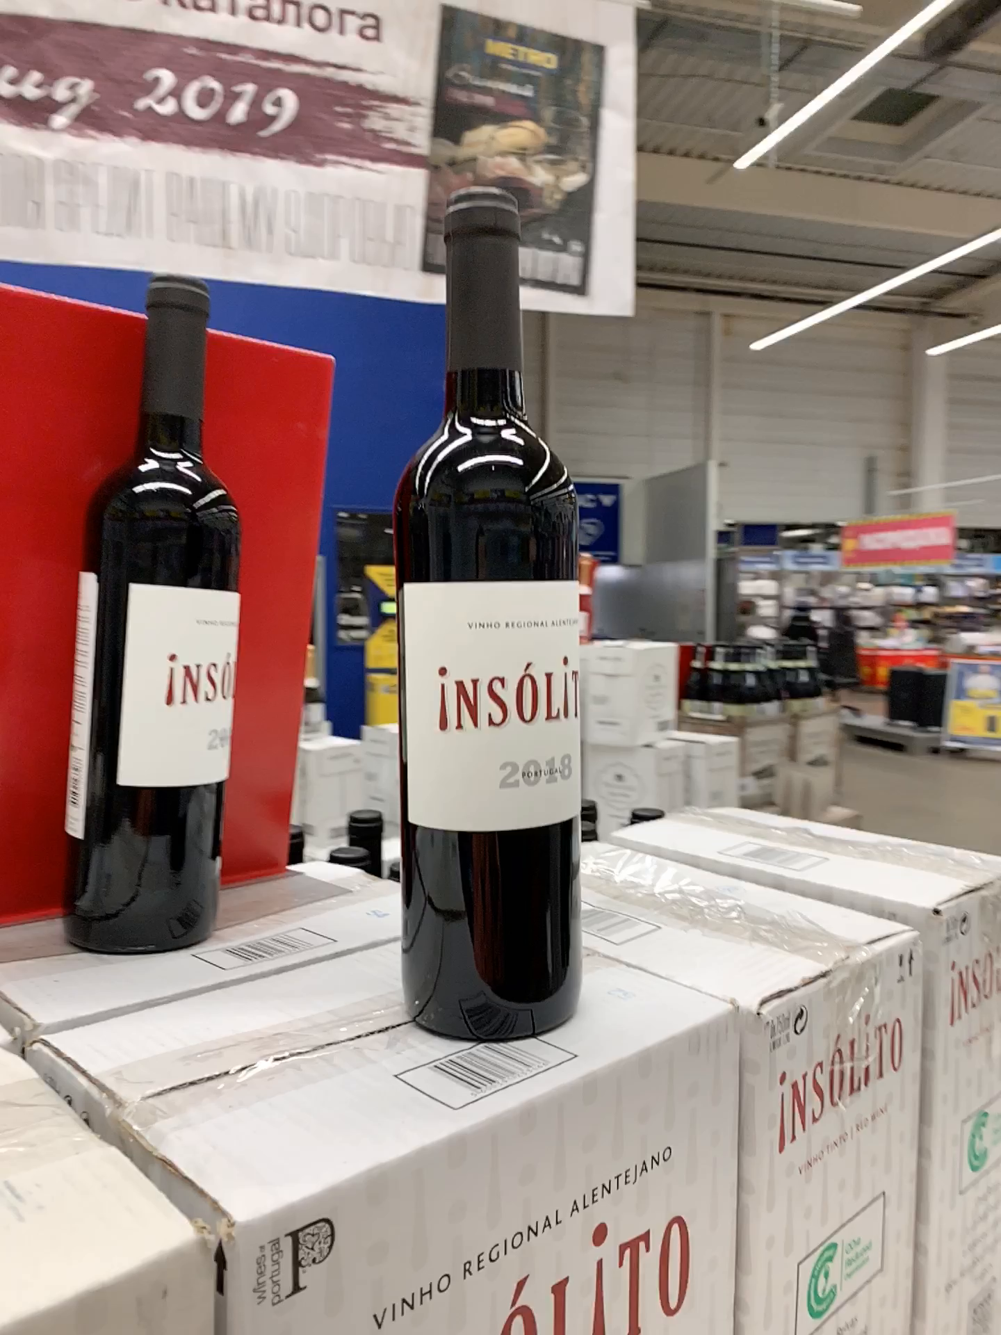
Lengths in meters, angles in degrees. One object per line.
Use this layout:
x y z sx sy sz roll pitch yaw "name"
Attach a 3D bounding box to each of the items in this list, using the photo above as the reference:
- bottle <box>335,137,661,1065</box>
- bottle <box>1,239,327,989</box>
-0.004 -0.023 0.407 0.090 0.310 0.090 1 3 0 "bottle"
-0.162 -0.025 0.499 0.090 0.320 0.090 5 4 0 "bottle"
